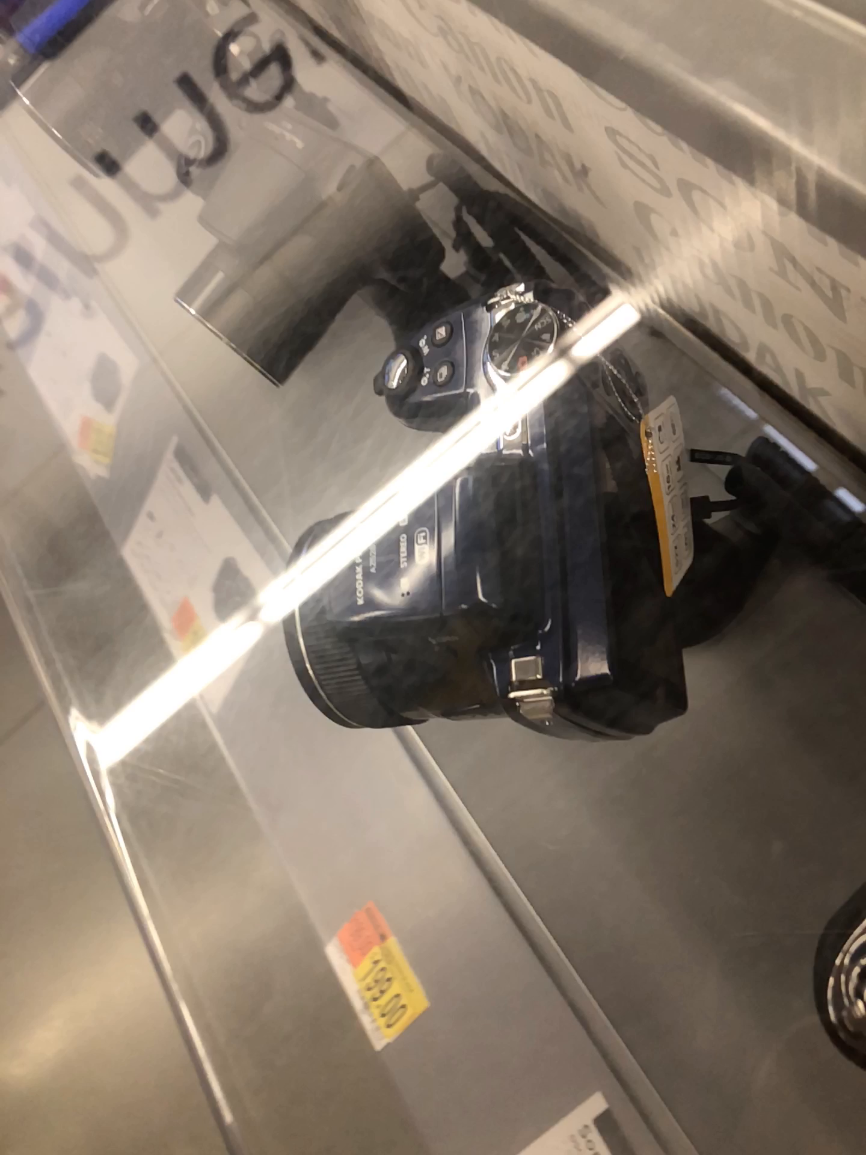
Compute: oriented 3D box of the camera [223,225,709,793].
[{"bbox_3d":[0.012,-0.012,0.289,0.110,0.080,0.130,-10,64,24],"label":"camera"}]
